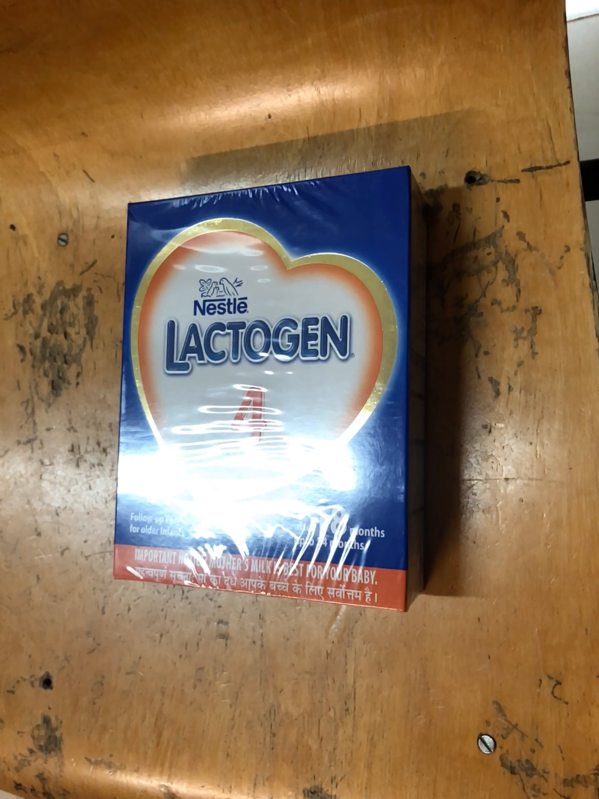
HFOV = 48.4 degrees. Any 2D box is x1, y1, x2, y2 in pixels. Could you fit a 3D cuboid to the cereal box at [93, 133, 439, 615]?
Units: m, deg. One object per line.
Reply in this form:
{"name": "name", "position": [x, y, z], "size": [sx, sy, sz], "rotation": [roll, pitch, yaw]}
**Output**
{"name": "cereal box", "position": [-0.015, -0.009, 0.317], "size": [0.150, 0.060, 0.190], "rotation": [-1, 86, 21]}
